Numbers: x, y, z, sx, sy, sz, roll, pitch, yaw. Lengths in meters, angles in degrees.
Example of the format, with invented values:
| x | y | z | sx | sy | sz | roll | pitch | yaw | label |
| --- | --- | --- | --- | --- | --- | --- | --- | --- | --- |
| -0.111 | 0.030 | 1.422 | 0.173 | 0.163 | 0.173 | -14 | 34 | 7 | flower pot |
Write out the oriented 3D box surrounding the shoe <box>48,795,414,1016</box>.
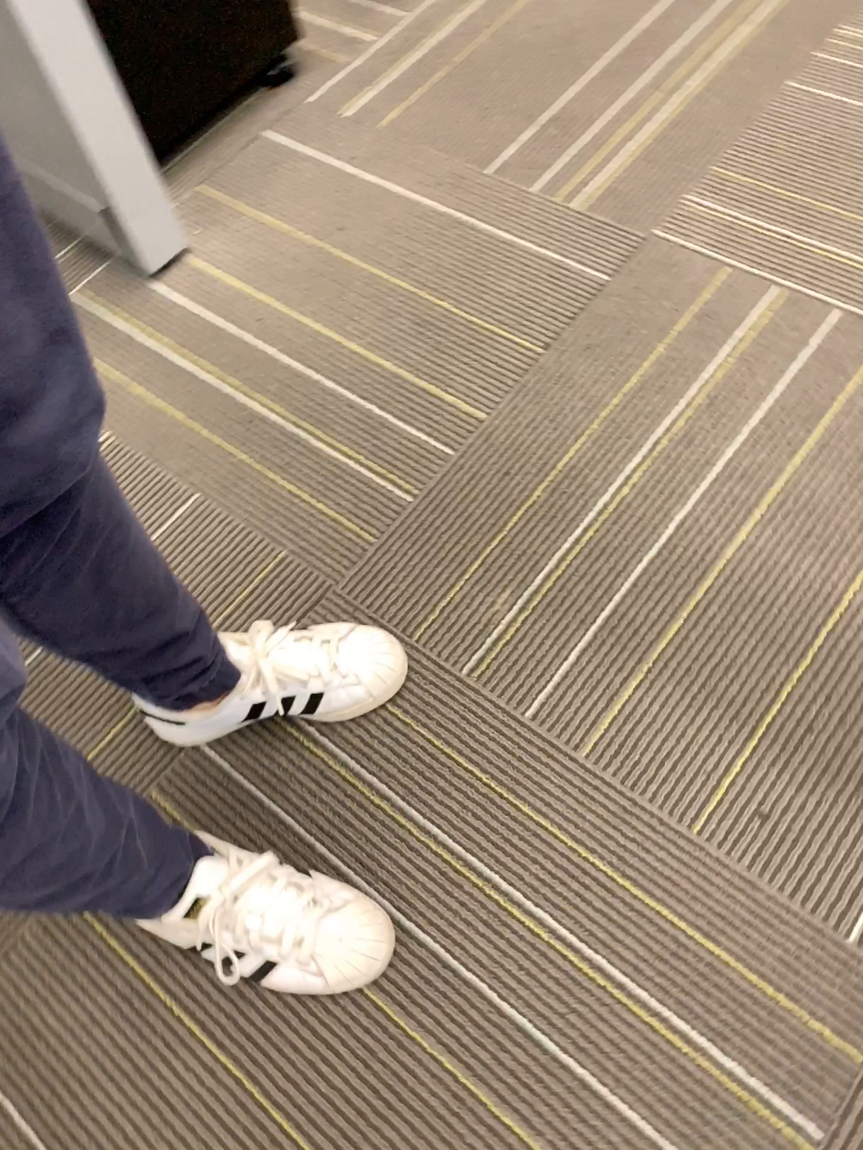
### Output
| x | y | z | sx | sy | sz | roll | pitch | yaw | label |
| --- | --- | --- | --- | --- | --- | --- | --- | --- | --- |
| -0.159 | 0.274 | 0.732 | 0.258 | 0.104 | 0.106 | 8 | 62 | 14 | shoe |

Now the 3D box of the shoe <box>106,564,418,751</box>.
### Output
| x | y | z | sx | sy | sz | roll | pitch | yaw | label |
| --- | --- | --- | --- | --- | --- | --- | --- | --- | --- |
| -0.155 | 0.081 | 0.835 | 0.262 | 0.104 | 0.108 | -8 | 59 | 4 | shoe |
